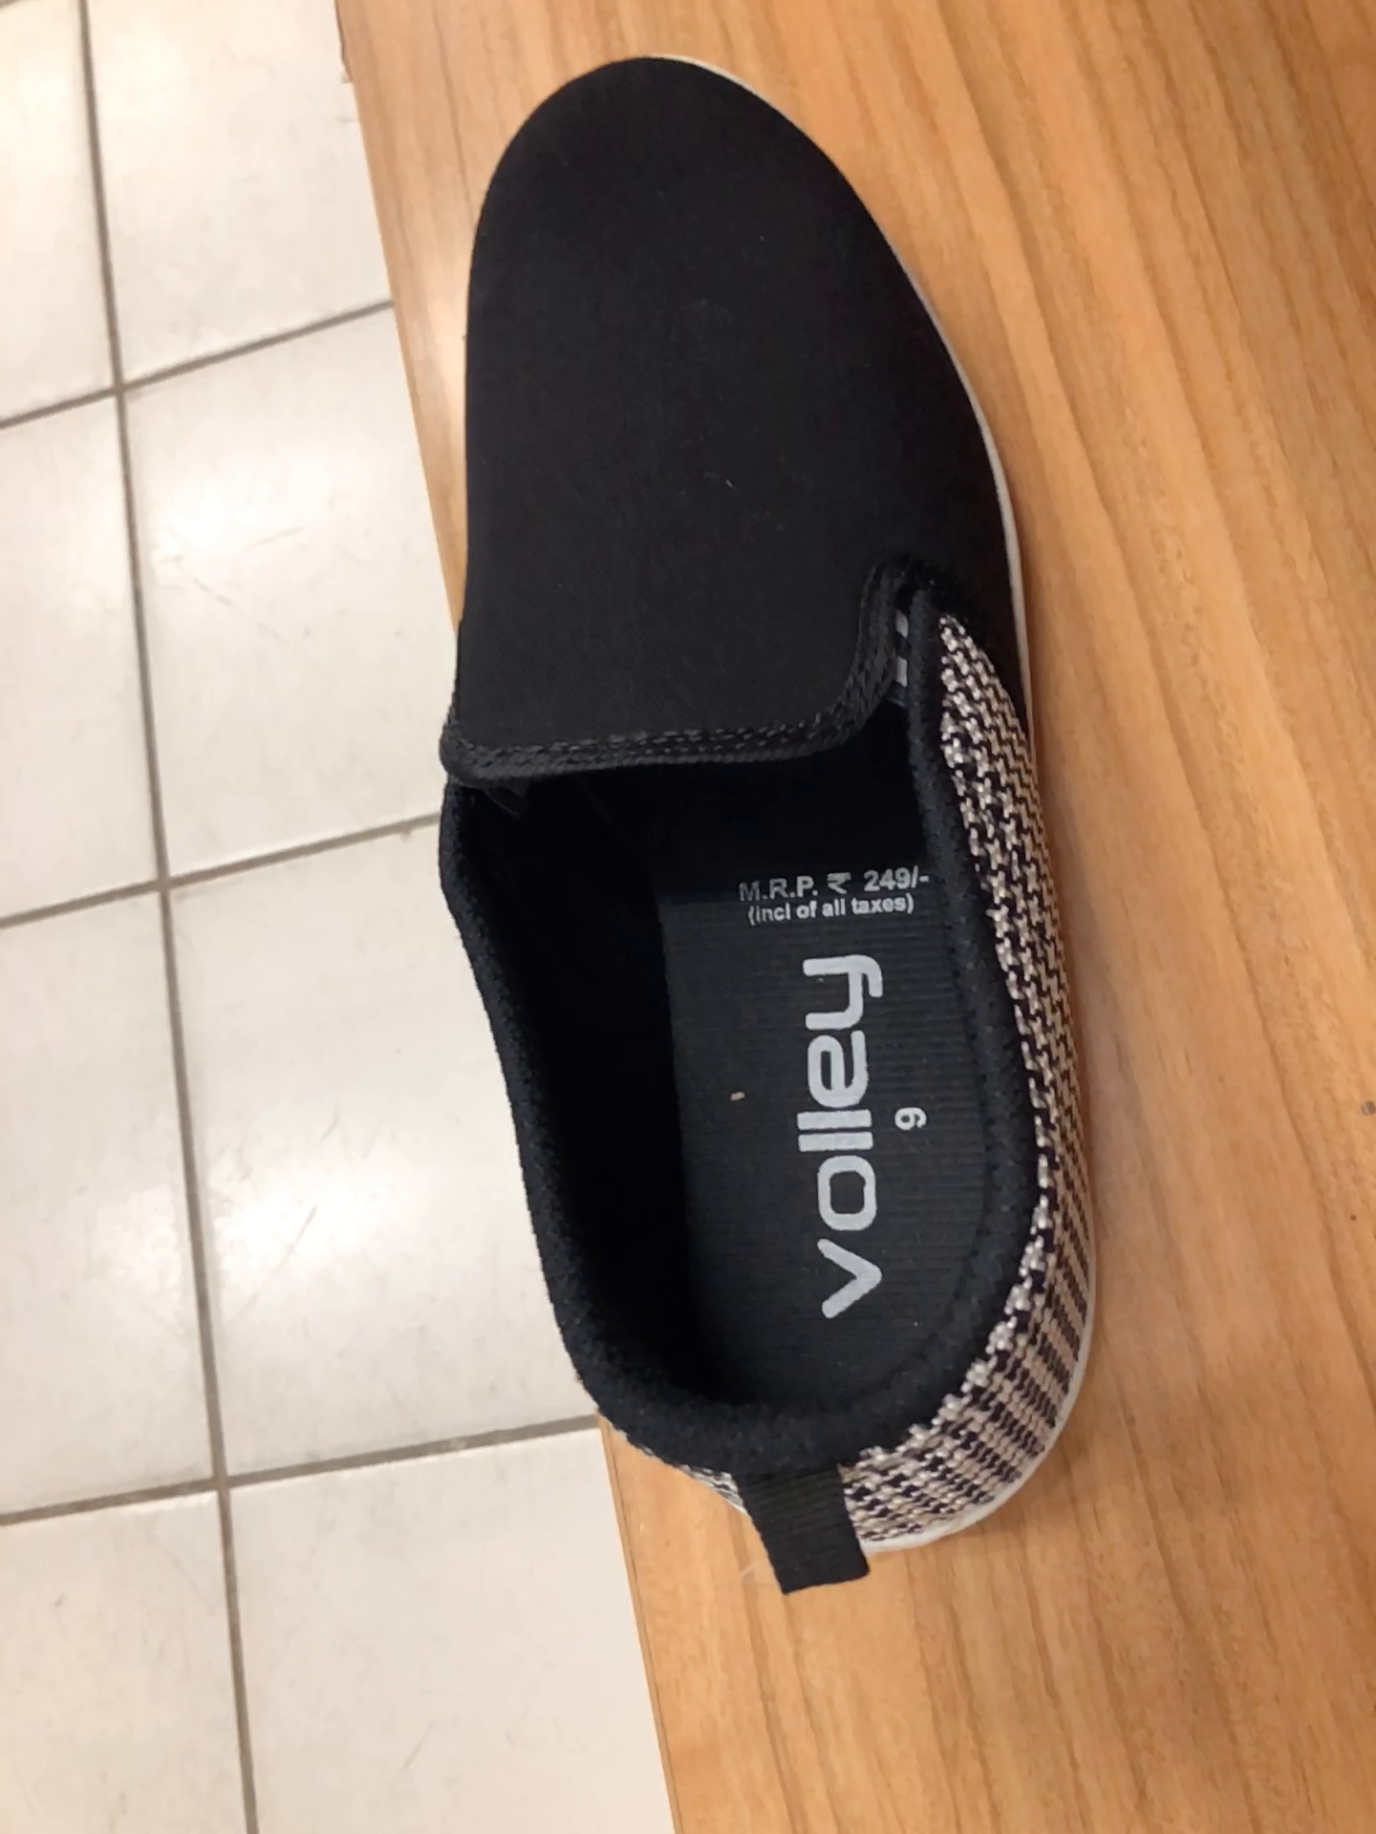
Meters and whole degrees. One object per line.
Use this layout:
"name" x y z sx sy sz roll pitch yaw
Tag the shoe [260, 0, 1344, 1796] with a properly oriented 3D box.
"shoe" 0.010 -0.036 0.251 0.100 0.090 0.290 -12 76 10
